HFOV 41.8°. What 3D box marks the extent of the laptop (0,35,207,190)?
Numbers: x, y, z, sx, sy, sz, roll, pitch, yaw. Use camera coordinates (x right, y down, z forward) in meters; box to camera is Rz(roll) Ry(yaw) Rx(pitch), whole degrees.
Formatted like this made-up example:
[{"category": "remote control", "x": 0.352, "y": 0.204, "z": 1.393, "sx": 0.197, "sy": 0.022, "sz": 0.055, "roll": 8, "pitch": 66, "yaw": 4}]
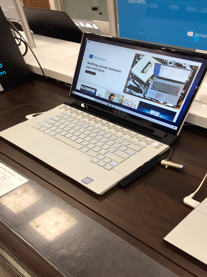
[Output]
[{"category": "laptop", "x": -0.031, "y": -0.094, "z": 0.659, "sx": 0.333, "sy": 0.210, "sz": 0.366, "roll": -34, "pitch": 45, "yaw": -31}]
